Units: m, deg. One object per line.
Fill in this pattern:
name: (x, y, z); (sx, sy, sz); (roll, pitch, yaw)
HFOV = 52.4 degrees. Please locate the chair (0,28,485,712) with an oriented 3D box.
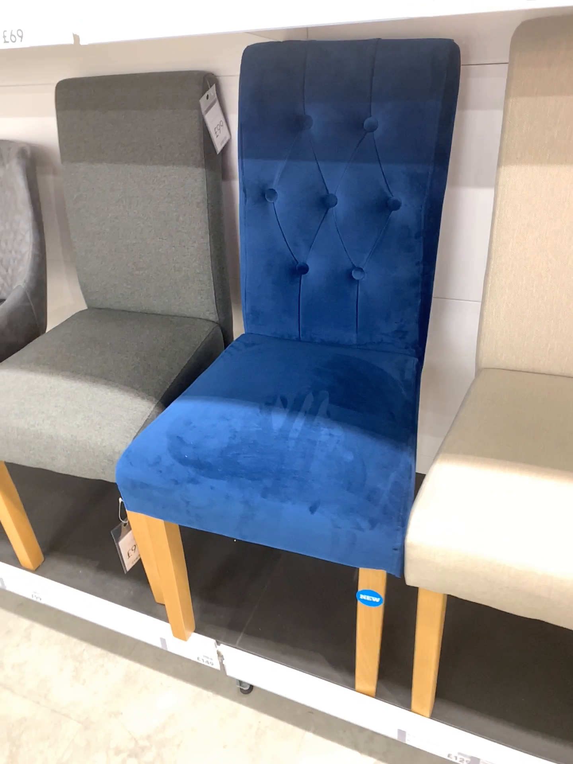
chair: (0.020, -0.016, 0.972); (0.433, 0.929, 0.523); (9, 37, 19)

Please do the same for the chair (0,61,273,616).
chair: (-0.356, -0.109, 1.197); (0.413, 0.890, 0.624); (7, 35, 17)
